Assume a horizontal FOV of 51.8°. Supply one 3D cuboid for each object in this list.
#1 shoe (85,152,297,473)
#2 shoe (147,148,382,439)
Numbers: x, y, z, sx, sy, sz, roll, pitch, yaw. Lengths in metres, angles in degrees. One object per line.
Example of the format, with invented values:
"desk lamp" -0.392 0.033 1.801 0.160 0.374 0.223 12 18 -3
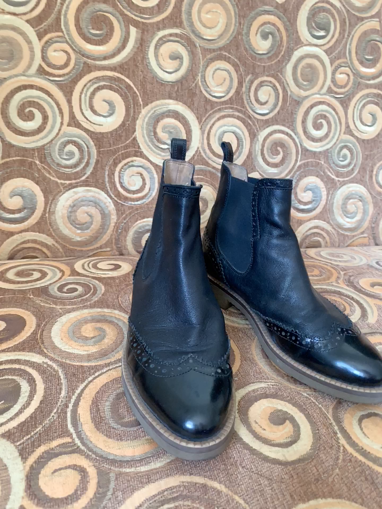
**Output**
"shoe" -0.014 0.019 0.321 0.100 0.139 0.241 3 28 -6
"shoe" 0.070 0.002 0.389 0.100 0.139 0.291 -12 33 -31
